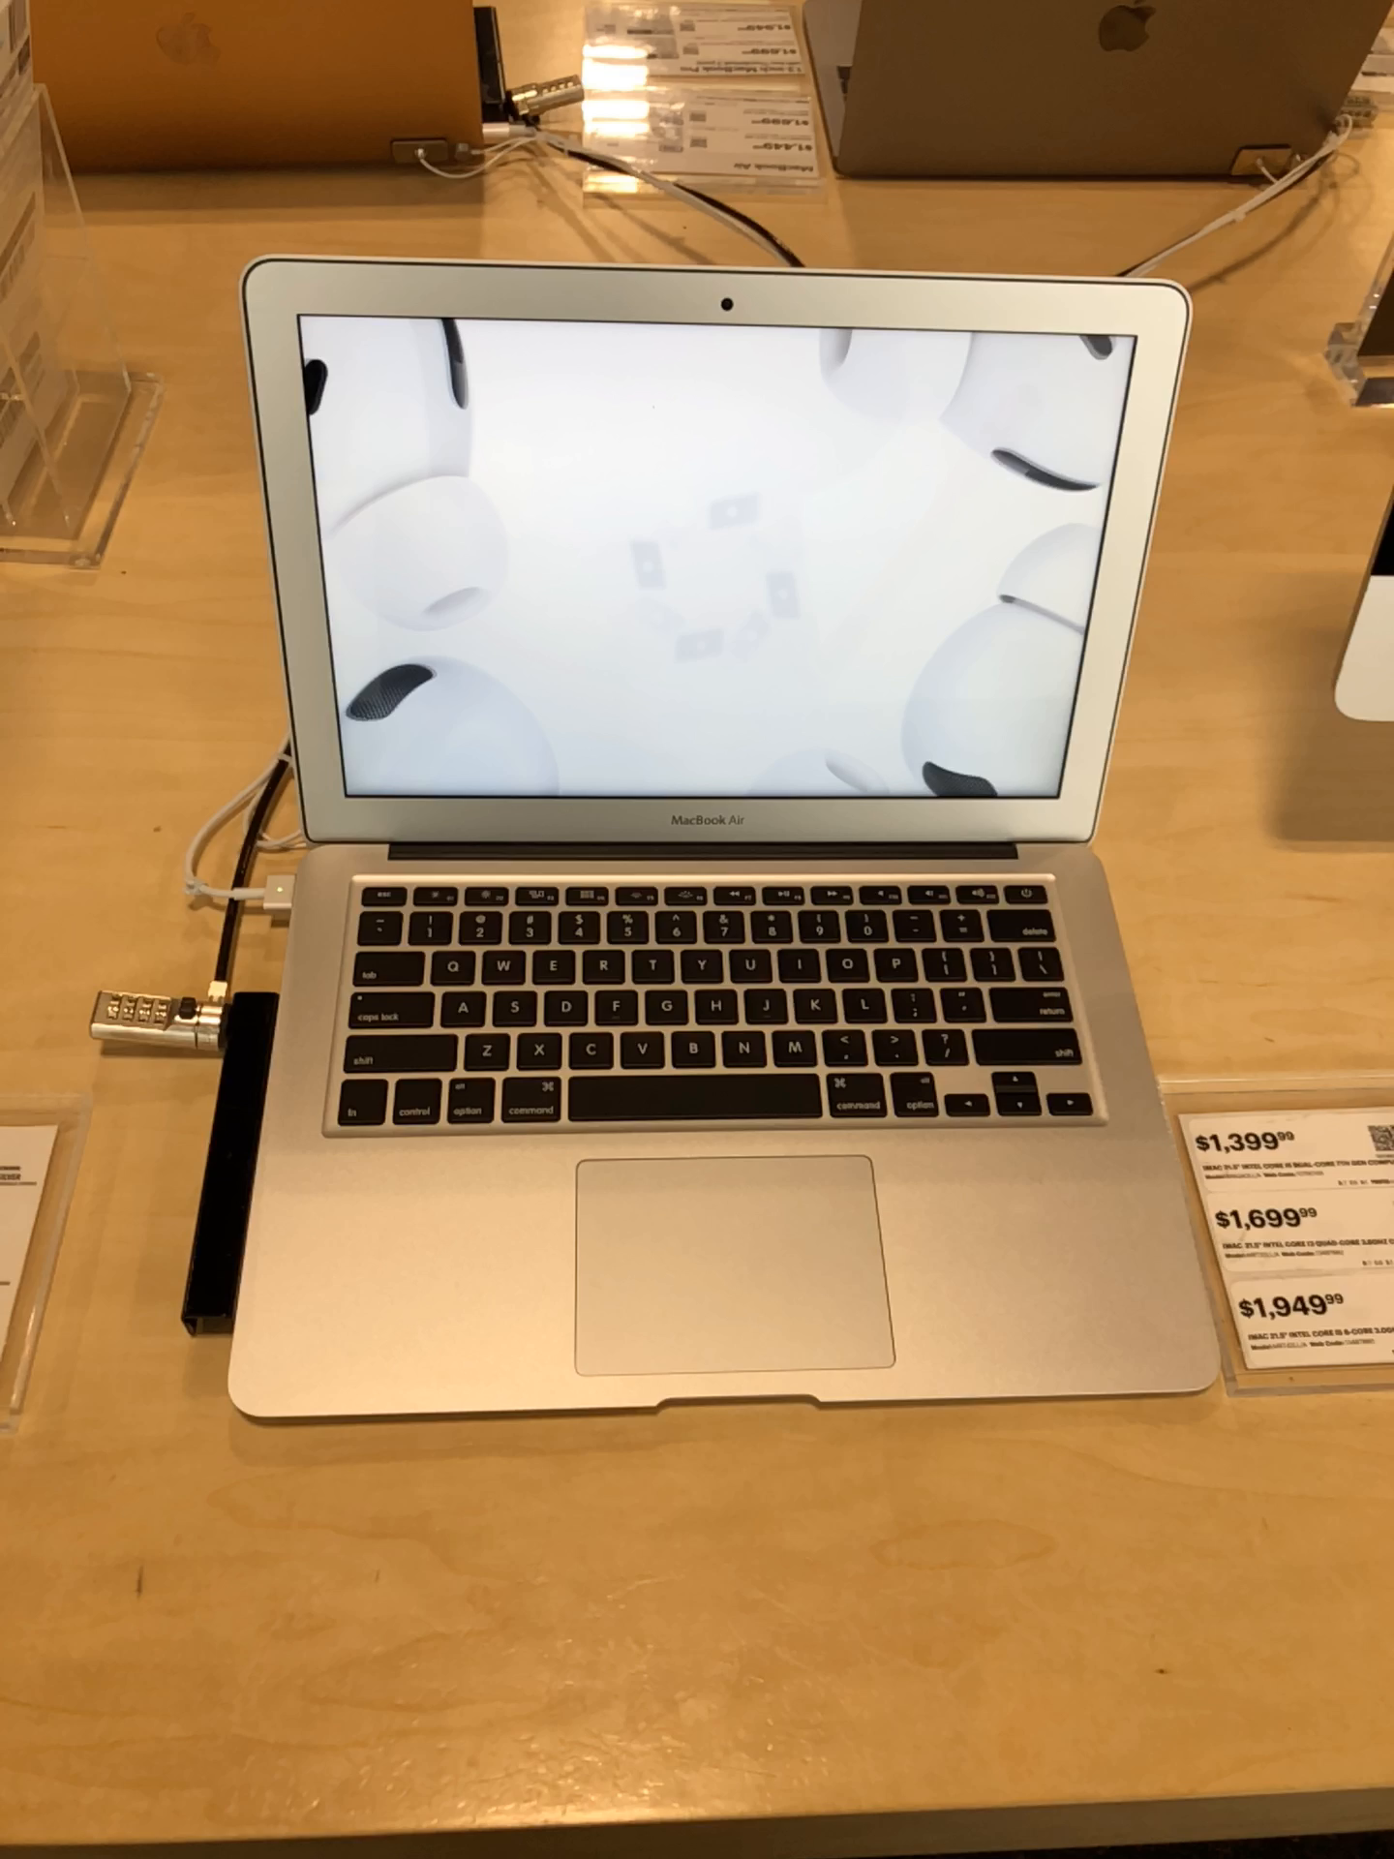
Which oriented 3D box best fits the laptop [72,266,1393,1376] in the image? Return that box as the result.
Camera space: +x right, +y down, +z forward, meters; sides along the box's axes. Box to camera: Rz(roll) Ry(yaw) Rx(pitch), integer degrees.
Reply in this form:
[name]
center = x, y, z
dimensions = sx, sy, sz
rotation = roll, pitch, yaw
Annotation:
[laptop]
center = 0.016, -0.041, 0.515
dimensions = 0.323, 0.202, 0.310
rotation = 0, 54, -1
